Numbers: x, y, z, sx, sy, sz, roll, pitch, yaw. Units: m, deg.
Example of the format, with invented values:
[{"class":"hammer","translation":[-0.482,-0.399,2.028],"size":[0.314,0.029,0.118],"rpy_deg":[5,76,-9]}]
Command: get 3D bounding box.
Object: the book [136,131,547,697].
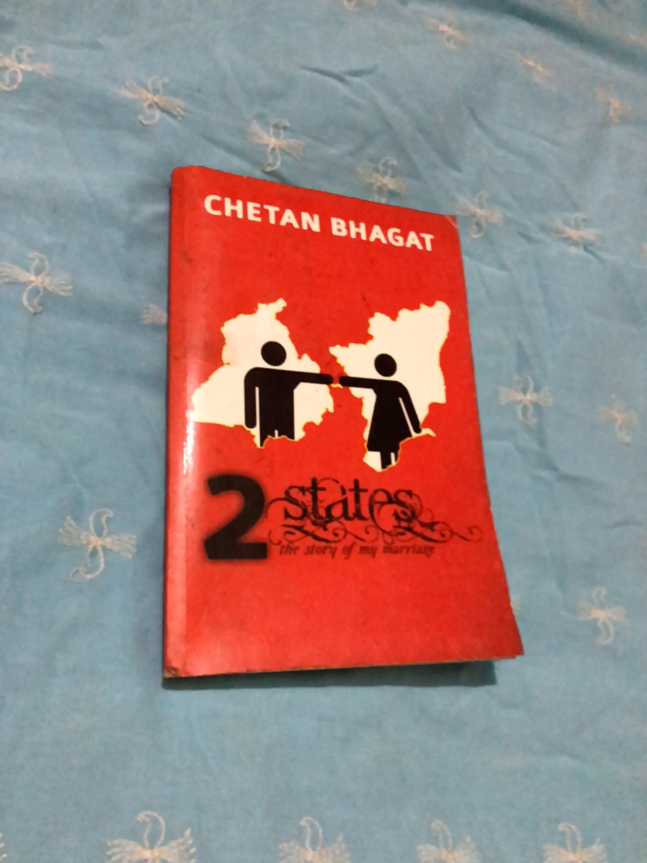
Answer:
[{"class":"book","translation":[0.003,-0.009,0.280],"size":[0.140,0.030,0.200],"rpy_deg":[4,69,-22]}]
